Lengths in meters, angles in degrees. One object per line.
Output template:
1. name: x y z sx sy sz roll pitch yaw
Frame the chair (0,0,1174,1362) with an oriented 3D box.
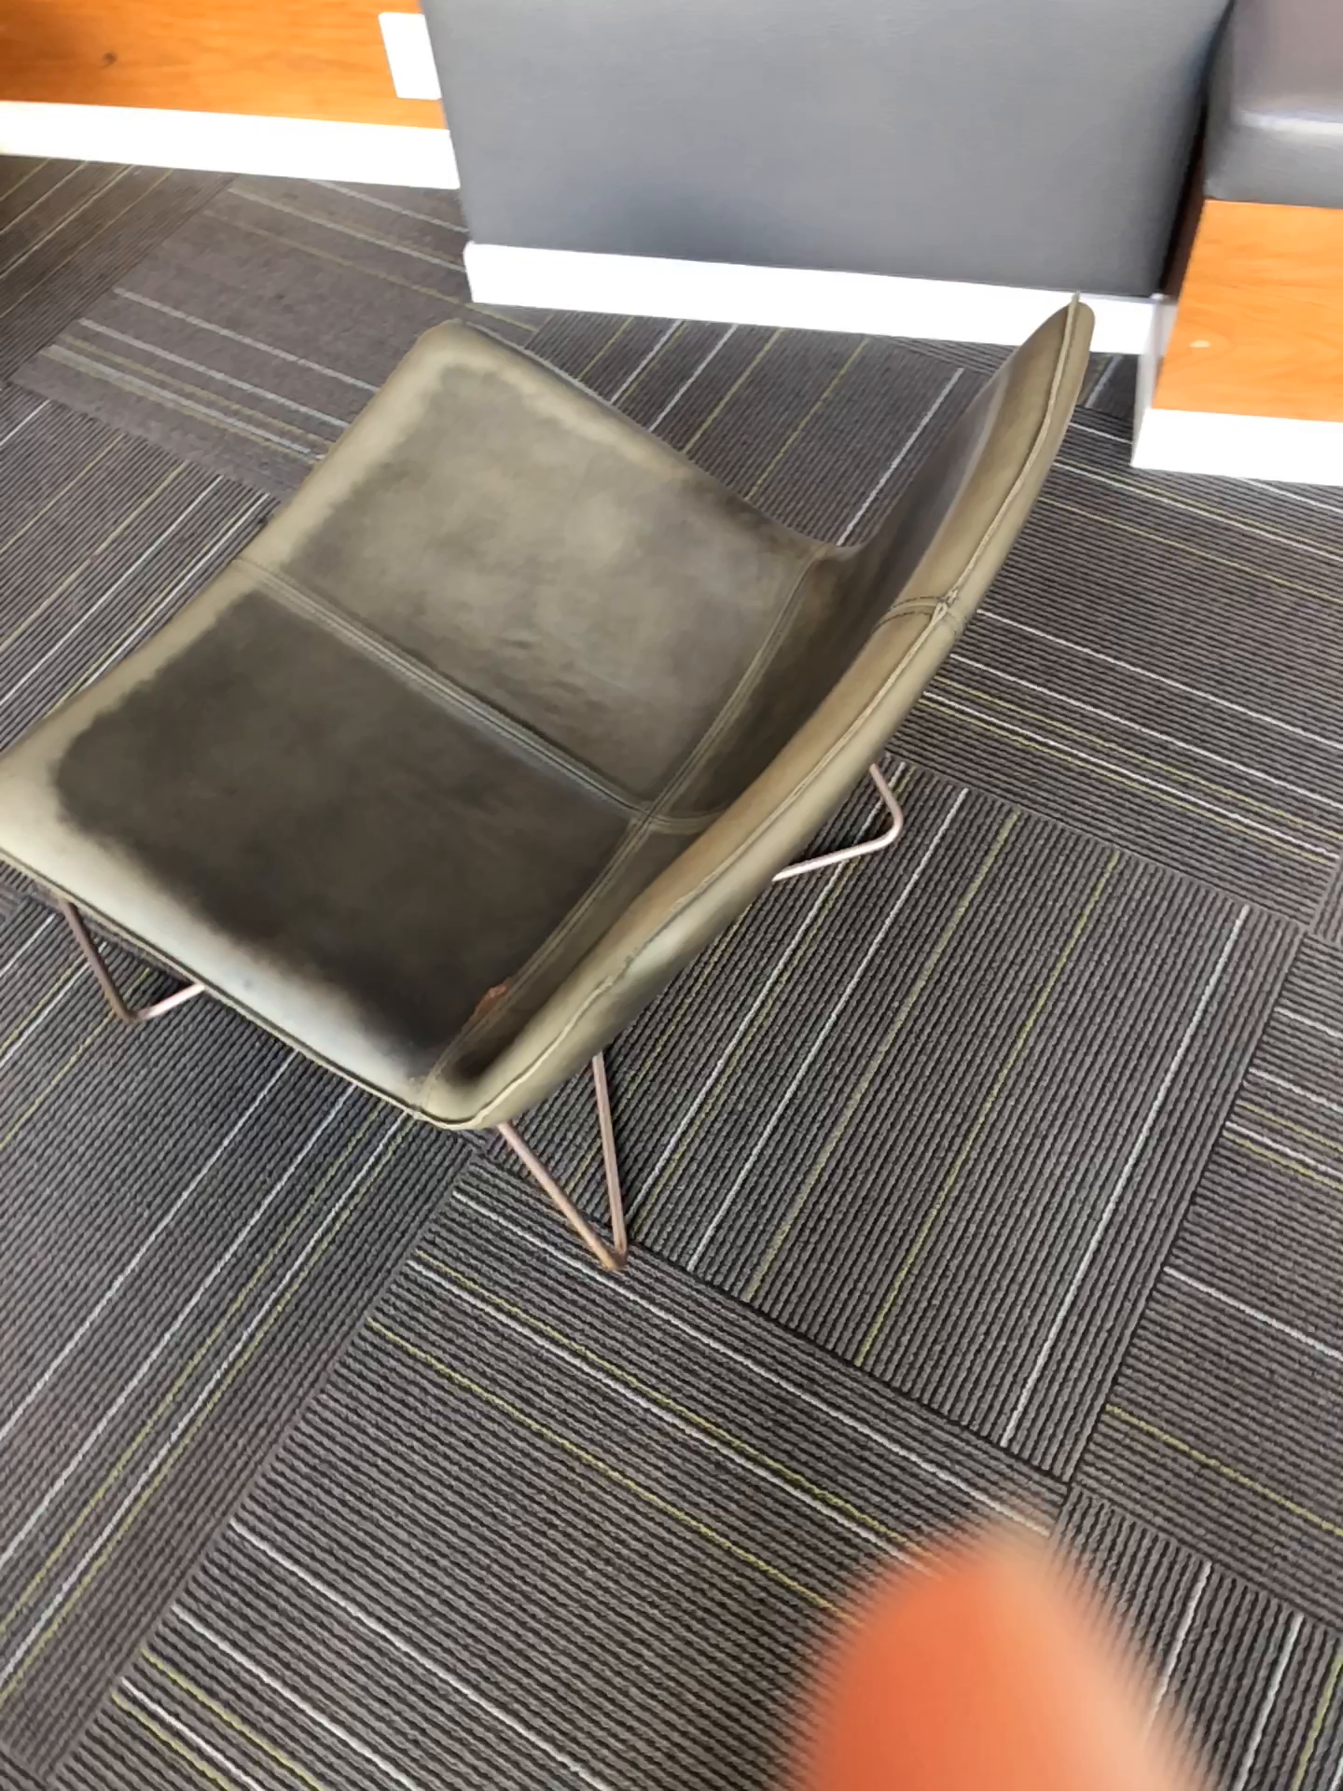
1. chair: -0.159 -0.173 1.219 0.651 0.878 0.671 29 64 13
